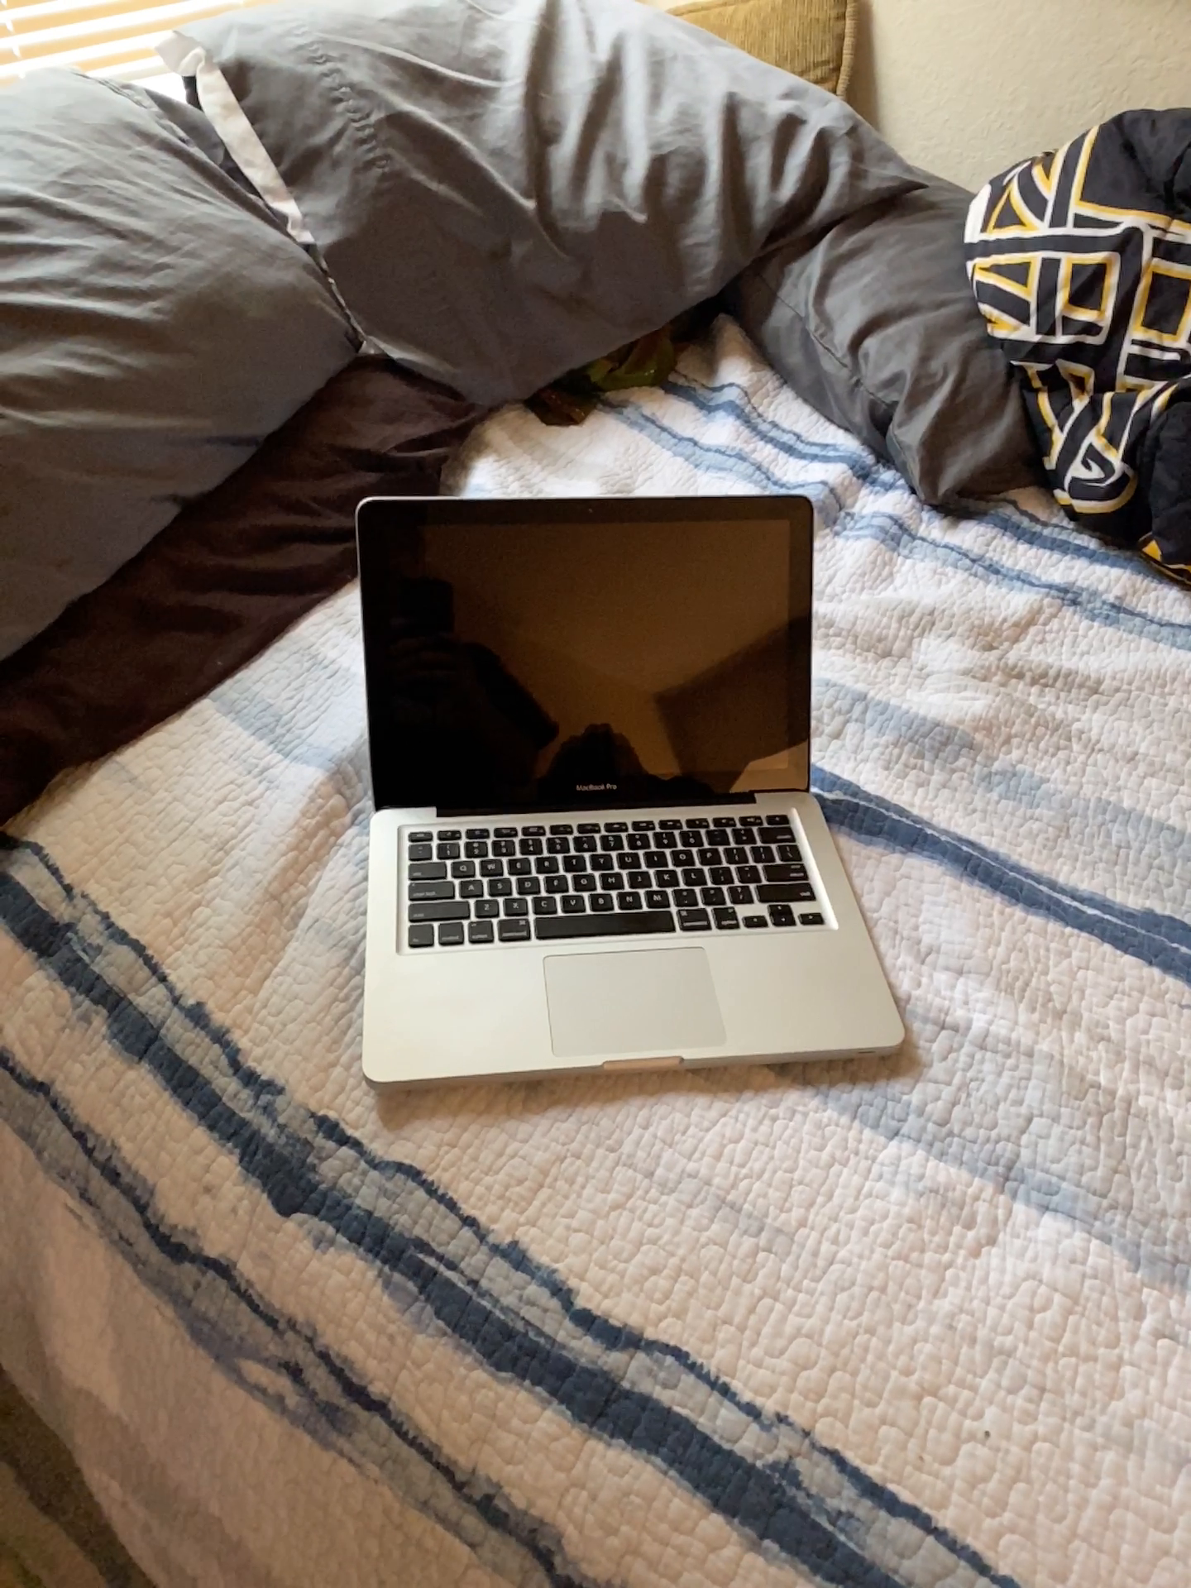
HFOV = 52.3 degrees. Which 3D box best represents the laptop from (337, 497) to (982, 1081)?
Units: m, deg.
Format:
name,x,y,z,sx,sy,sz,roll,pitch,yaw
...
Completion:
name,x,y,z,sx,sy,sz,roll,pitch,yaw
laptop,0.010,-0.025,0.772,0.320,0.165,0.347,-3,44,-8
